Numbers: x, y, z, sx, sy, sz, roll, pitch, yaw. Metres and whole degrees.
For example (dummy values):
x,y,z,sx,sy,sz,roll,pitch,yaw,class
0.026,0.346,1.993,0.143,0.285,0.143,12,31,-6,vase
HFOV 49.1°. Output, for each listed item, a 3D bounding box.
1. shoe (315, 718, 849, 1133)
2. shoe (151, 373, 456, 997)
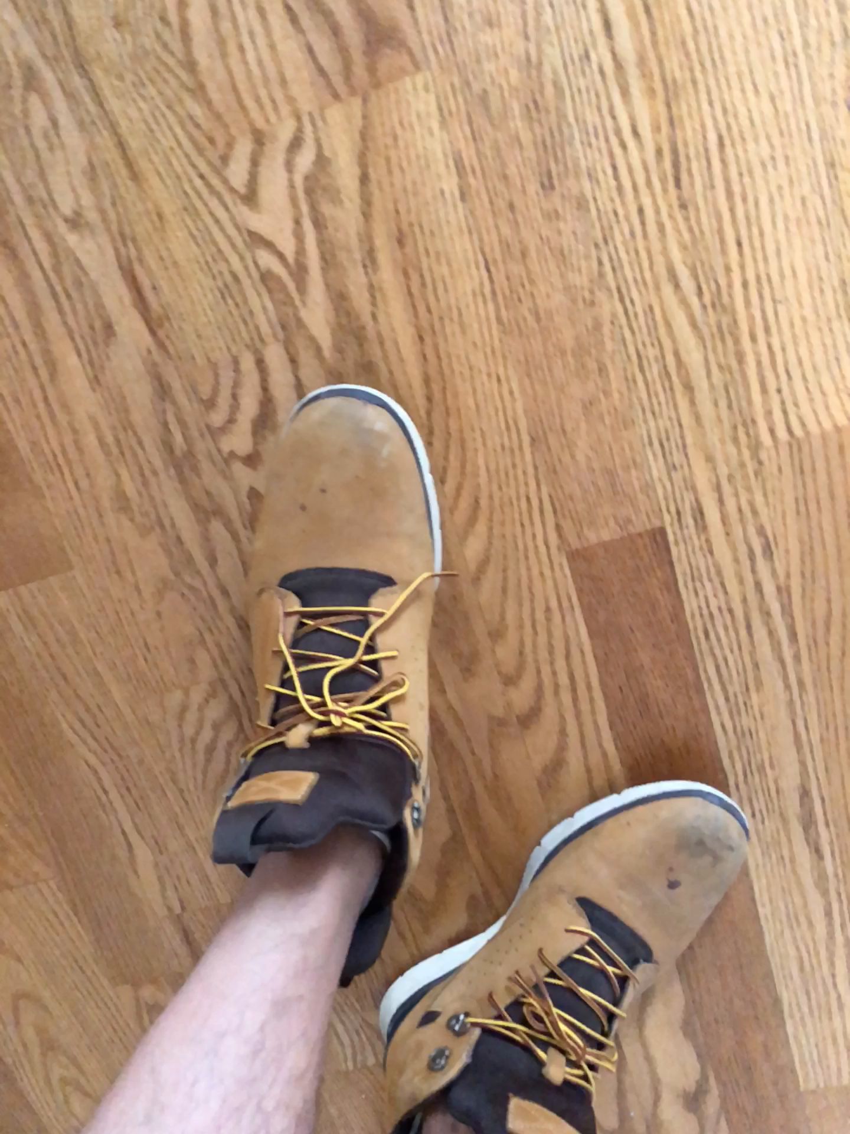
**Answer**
x,y,z,sx,sy,sz,roll,pitch,yaw,class
0.095,0.263,0.560,0.130,0.170,0.301,40,120,-7,shoe
-0.055,0.056,0.533,0.130,0.140,0.320,0,101,6,shoe
